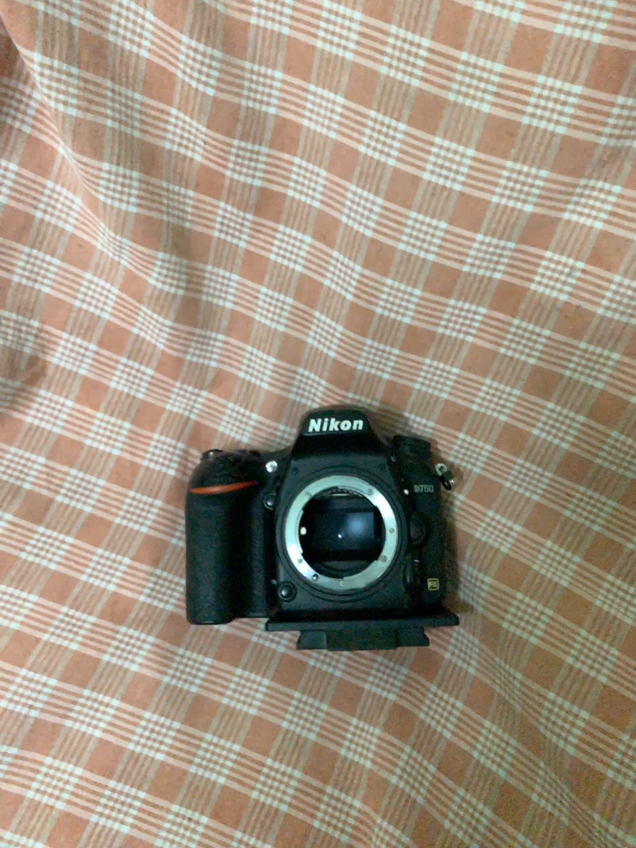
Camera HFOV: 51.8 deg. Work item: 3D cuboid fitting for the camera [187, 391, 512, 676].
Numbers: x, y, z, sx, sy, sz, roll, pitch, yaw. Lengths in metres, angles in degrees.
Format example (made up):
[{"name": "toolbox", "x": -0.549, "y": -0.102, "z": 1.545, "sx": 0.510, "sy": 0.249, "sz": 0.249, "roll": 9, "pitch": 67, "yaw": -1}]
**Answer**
[{"name": "camera", "x": 0.013, "y": 0.056, "z": 0.347, "sx": 0.145, "sy": 0.085, "sz": 0.125, "roll": -3, "pitch": 80, "yaw": 2}]
